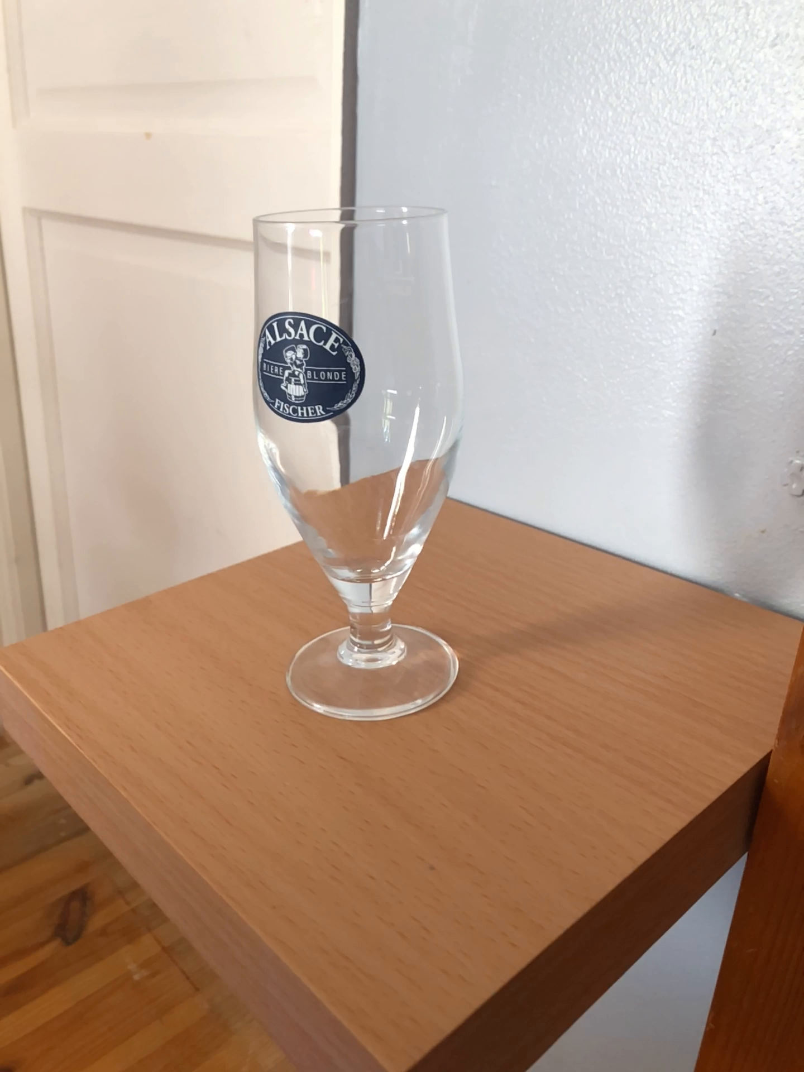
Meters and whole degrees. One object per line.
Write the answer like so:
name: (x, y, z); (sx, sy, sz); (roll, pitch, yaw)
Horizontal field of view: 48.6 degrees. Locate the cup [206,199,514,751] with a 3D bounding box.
cup: (-0.008, -0.024, 0.305); (0.068, 0.166, 0.068); (-2, 22, 1)
